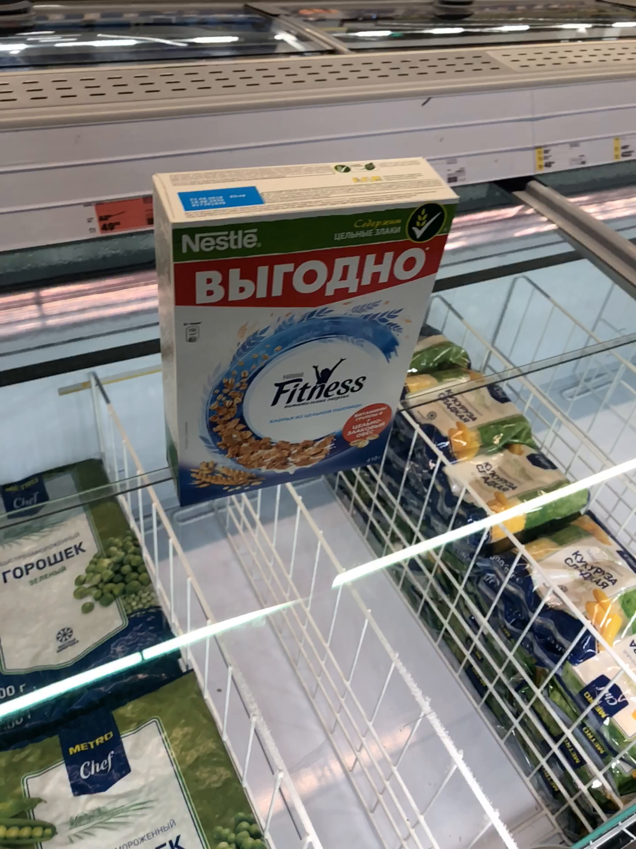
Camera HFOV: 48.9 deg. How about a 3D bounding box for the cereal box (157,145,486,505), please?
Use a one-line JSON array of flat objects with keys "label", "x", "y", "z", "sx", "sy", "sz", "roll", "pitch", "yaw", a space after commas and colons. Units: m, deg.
[{"label": "cereal box", "x": -0.010, "y": -0.064, "z": 0.535, "sx": 0.200, "sy": 0.268, "sz": 0.060, "roll": -11, "pitch": 49, "yaw": -19}]
